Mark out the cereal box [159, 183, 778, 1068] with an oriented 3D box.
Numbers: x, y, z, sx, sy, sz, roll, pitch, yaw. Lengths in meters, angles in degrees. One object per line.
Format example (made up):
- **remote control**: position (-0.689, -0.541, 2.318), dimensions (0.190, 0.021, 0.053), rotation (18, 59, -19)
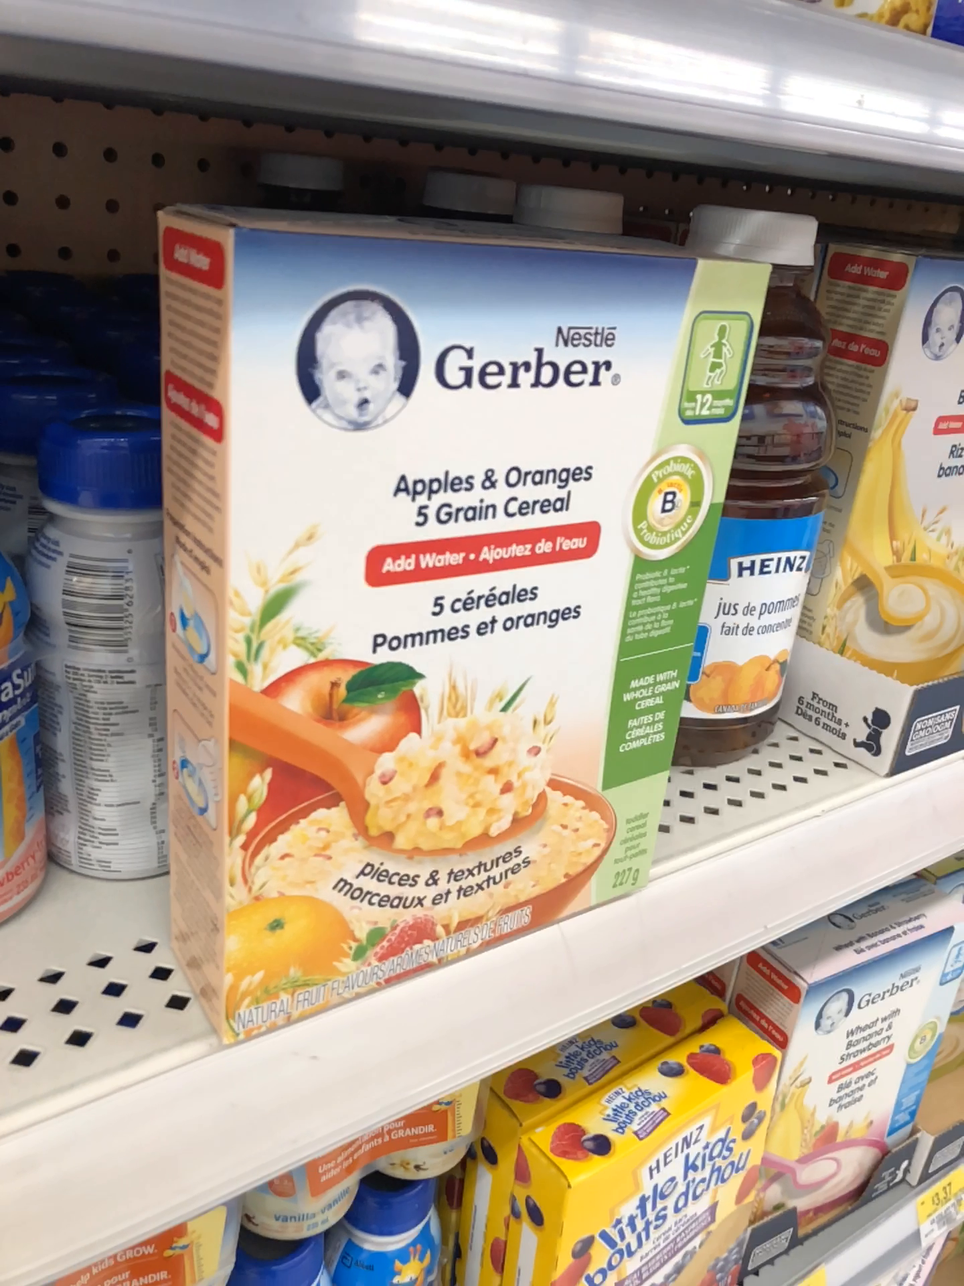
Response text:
- **cereal box**: position (-0.008, -0.006, 0.283), dimensions (0.140, 0.199, 0.050), rotation (-10, 28, -35)
